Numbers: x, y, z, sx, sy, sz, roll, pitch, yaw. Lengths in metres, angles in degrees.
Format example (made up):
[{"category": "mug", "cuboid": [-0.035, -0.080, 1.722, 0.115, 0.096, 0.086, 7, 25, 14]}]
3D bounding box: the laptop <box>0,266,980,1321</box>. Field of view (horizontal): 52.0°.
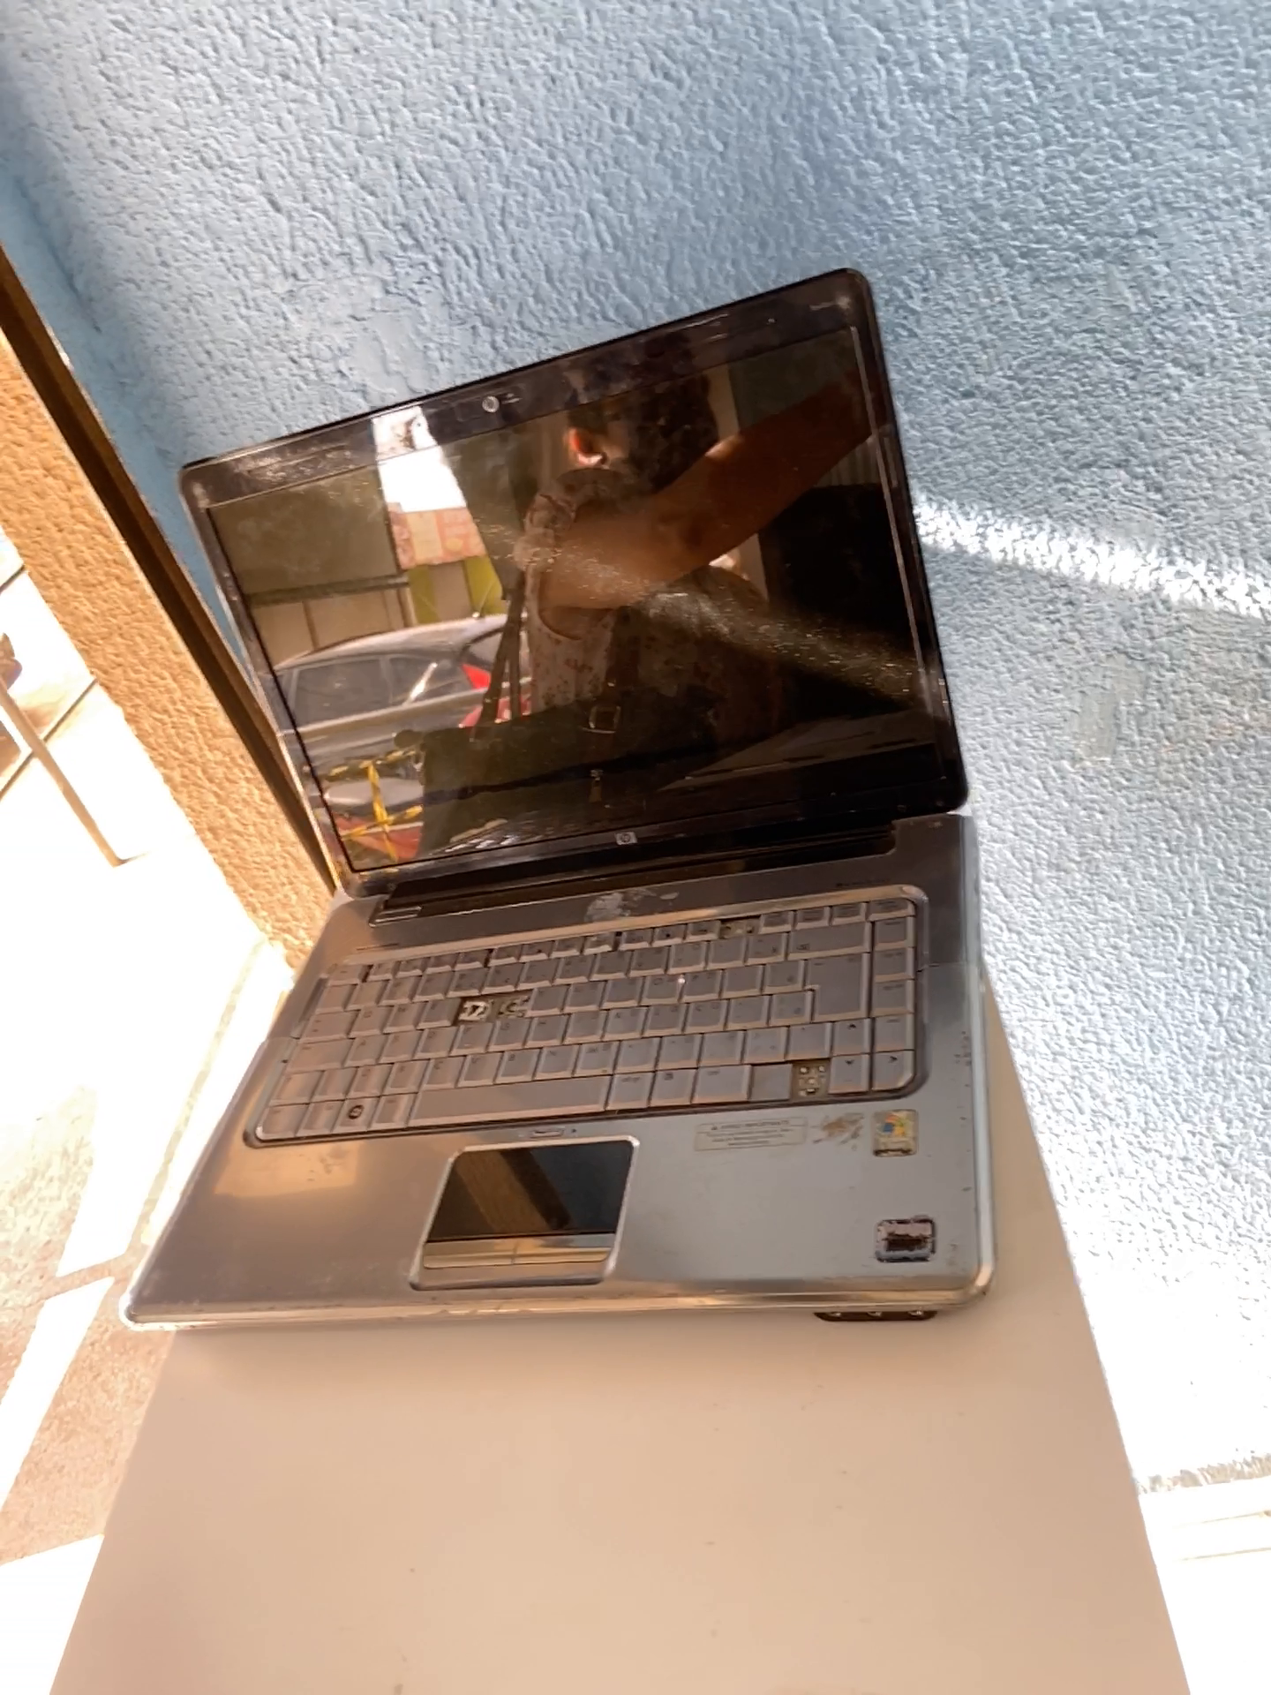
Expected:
[{"category": "laptop", "cuboid": [-0.061, -0.024, 0.543, 0.351, 0.233, 0.330, -9, 36, 20]}]
